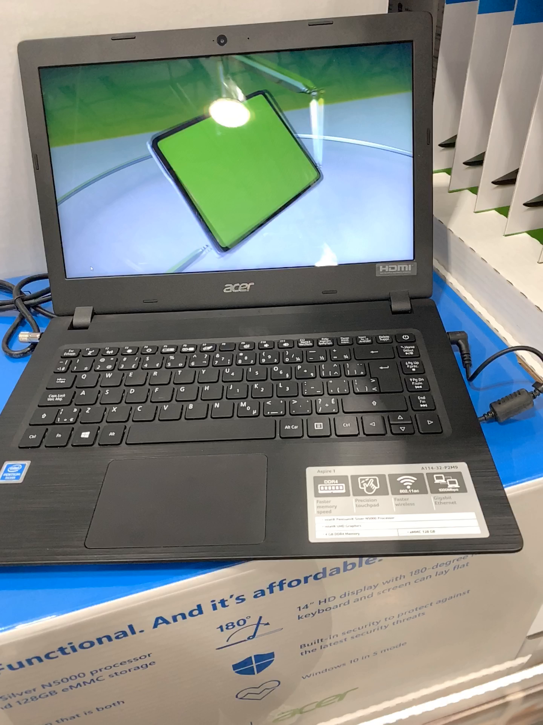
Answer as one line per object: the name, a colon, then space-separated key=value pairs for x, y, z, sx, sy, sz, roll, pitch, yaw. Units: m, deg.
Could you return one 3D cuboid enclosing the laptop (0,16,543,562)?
laptop: x=-0.032 y=-0.074 z=0.360 sx=0.318 sy=0.186 sz=0.329 roll=-2 pitch=40 yaw=3
